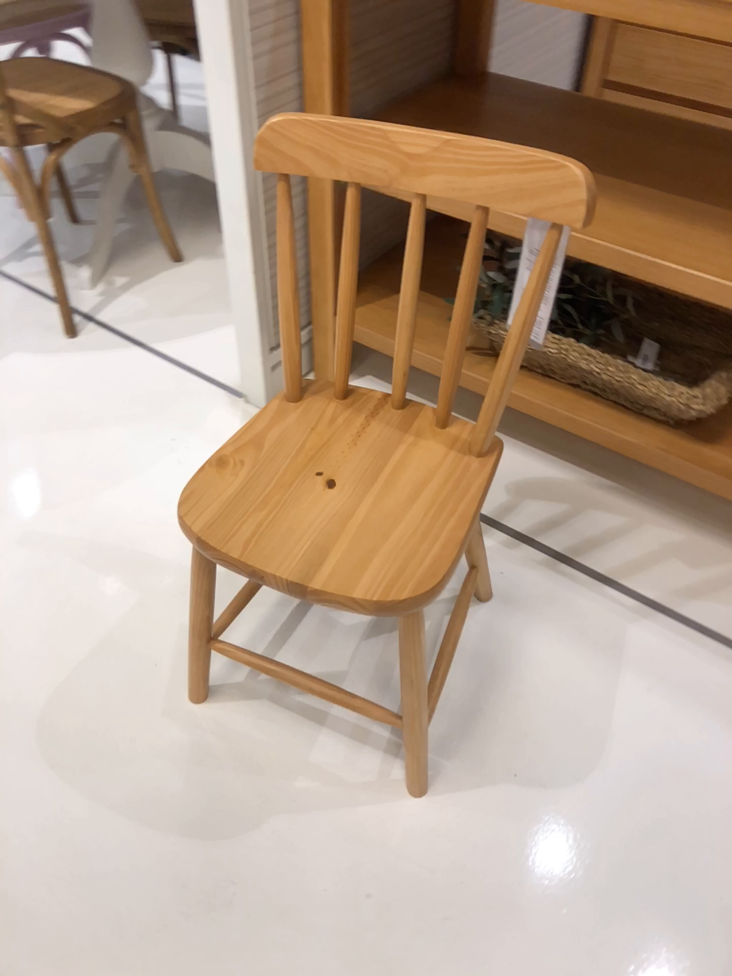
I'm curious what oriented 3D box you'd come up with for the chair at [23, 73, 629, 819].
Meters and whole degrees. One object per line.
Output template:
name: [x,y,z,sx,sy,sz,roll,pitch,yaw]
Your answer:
chair: [-0.008,-0.027,1.027,0.420,0.754,0.453,18,47,17]
